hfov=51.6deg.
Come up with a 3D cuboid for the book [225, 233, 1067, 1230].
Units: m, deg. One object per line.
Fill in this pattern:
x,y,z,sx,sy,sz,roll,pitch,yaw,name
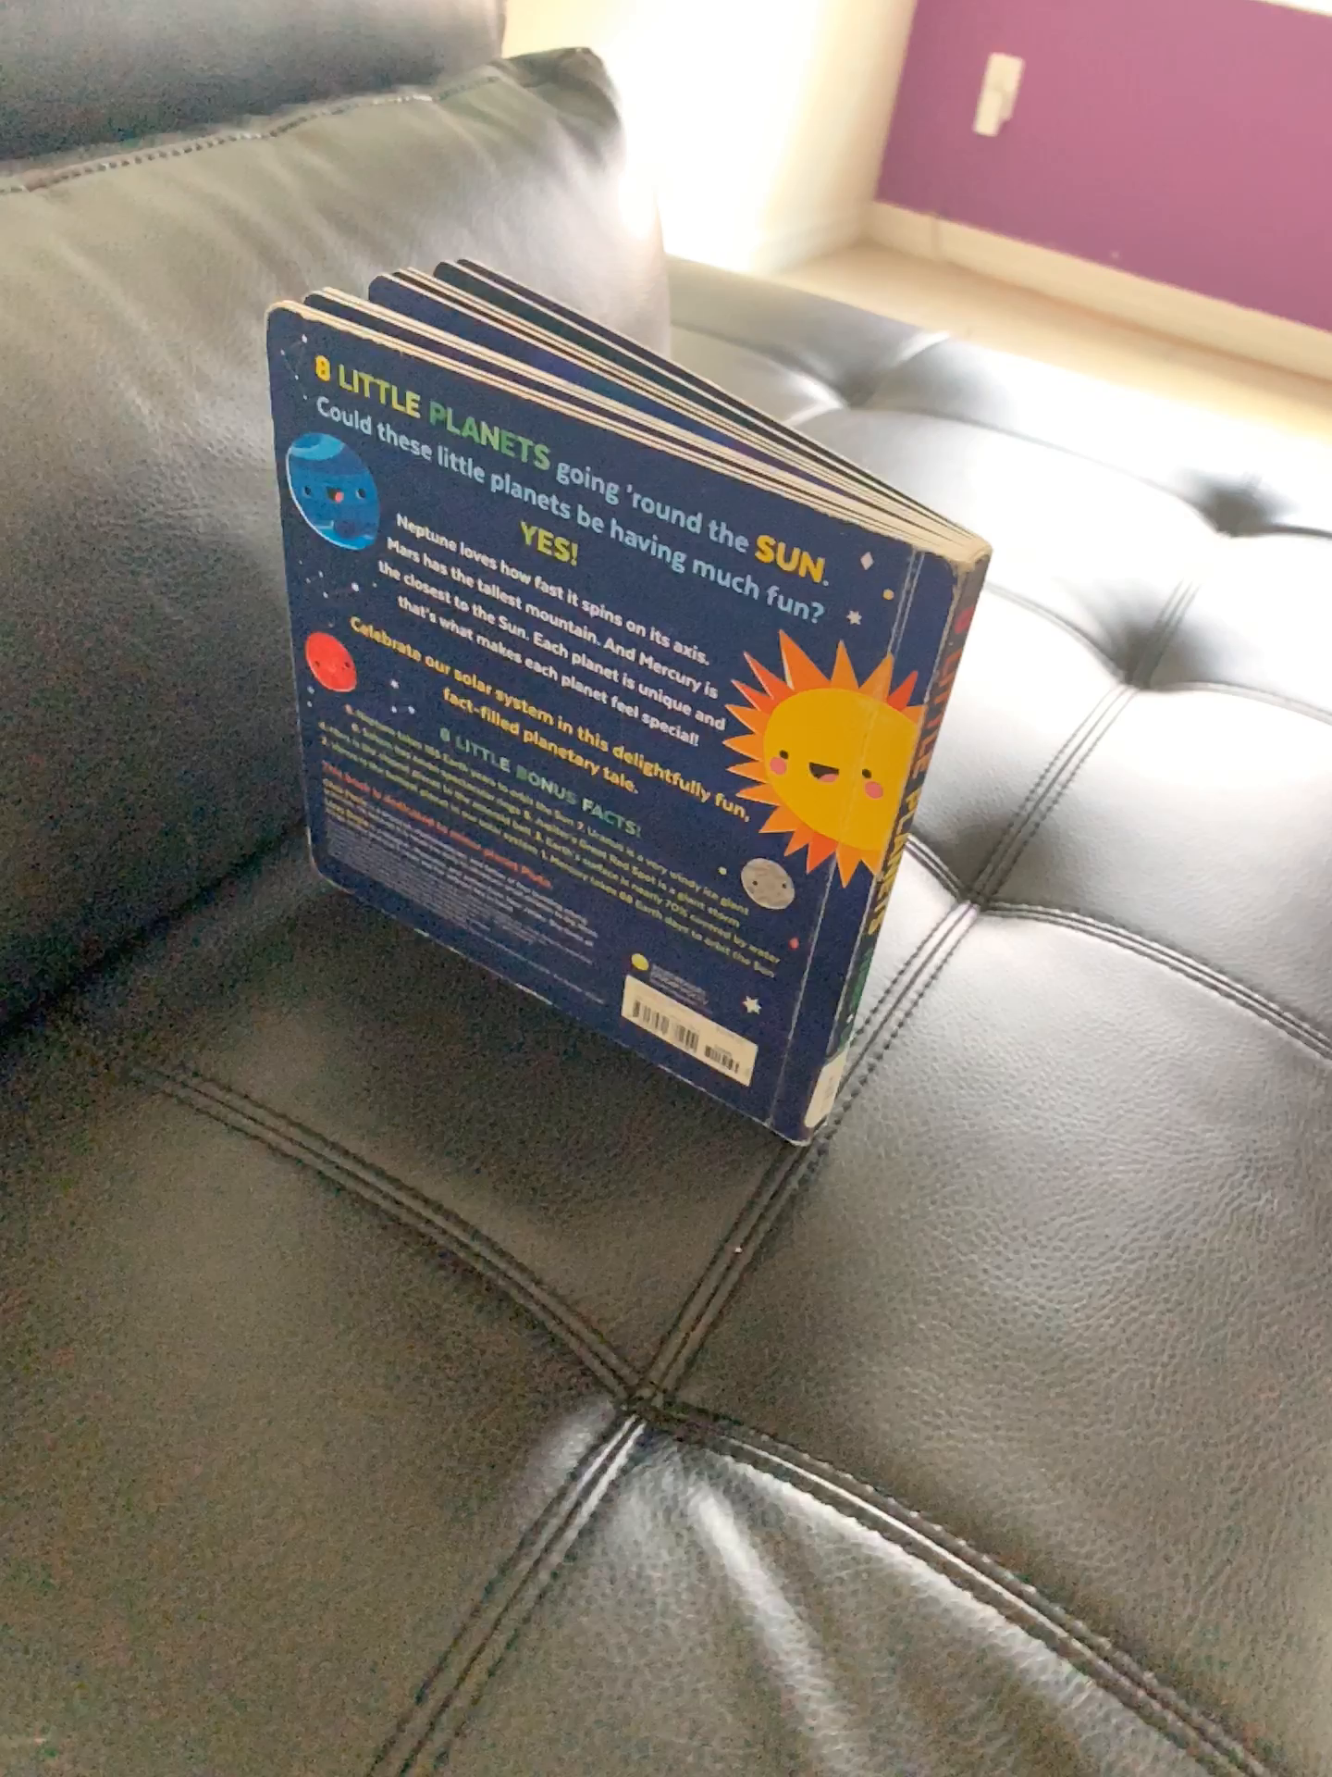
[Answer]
-0.021,-0.046,0.408,0.208,0.211,0.079,33,48,26,book
